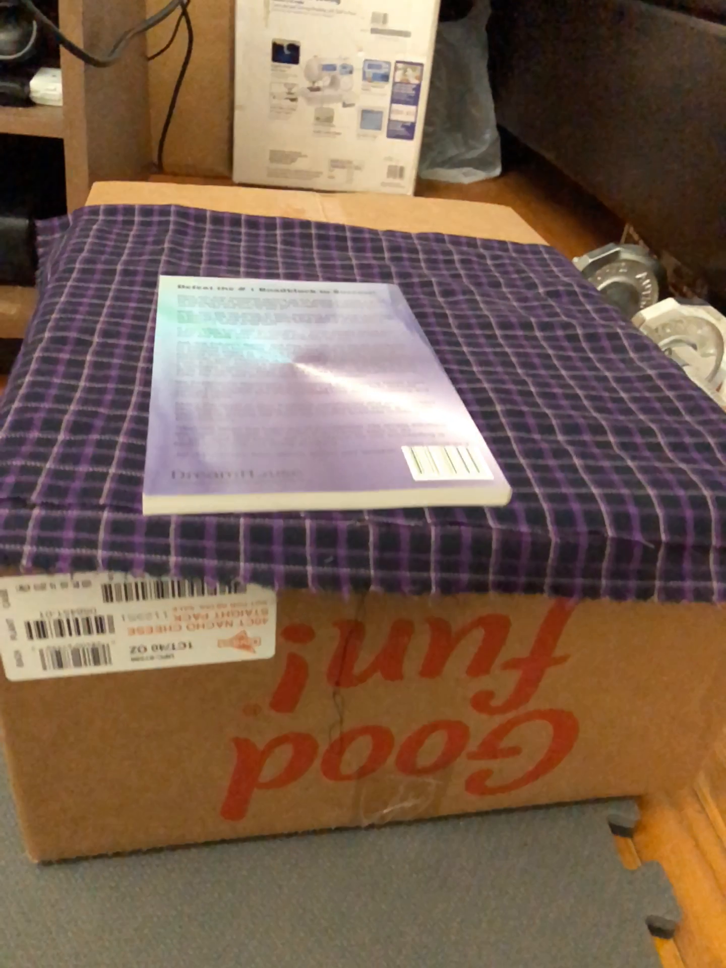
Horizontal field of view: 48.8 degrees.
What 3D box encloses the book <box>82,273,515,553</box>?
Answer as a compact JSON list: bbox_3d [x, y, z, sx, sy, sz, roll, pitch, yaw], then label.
[{"bbox_3d":[-0.040,-0.049,0.388,0.160,0.020,0.221,-1,36,-12],"label":"book"}]
